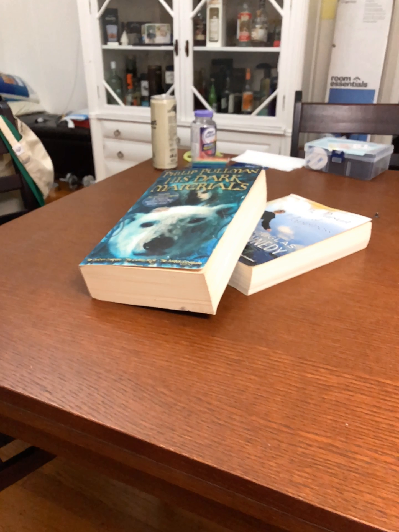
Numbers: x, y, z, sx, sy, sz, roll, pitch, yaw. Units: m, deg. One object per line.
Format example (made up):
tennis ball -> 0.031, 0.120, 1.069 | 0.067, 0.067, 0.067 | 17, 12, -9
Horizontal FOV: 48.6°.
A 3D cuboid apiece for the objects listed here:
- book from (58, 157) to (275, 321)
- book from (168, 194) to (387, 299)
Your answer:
book -> -0.022, -0.051, 0.530 | 0.170, 0.060, 0.242 | 5, 39, 21
book -> 0.104, -0.040, 0.606 | 0.241, 0.040, 0.170 | -19, 26, -28
